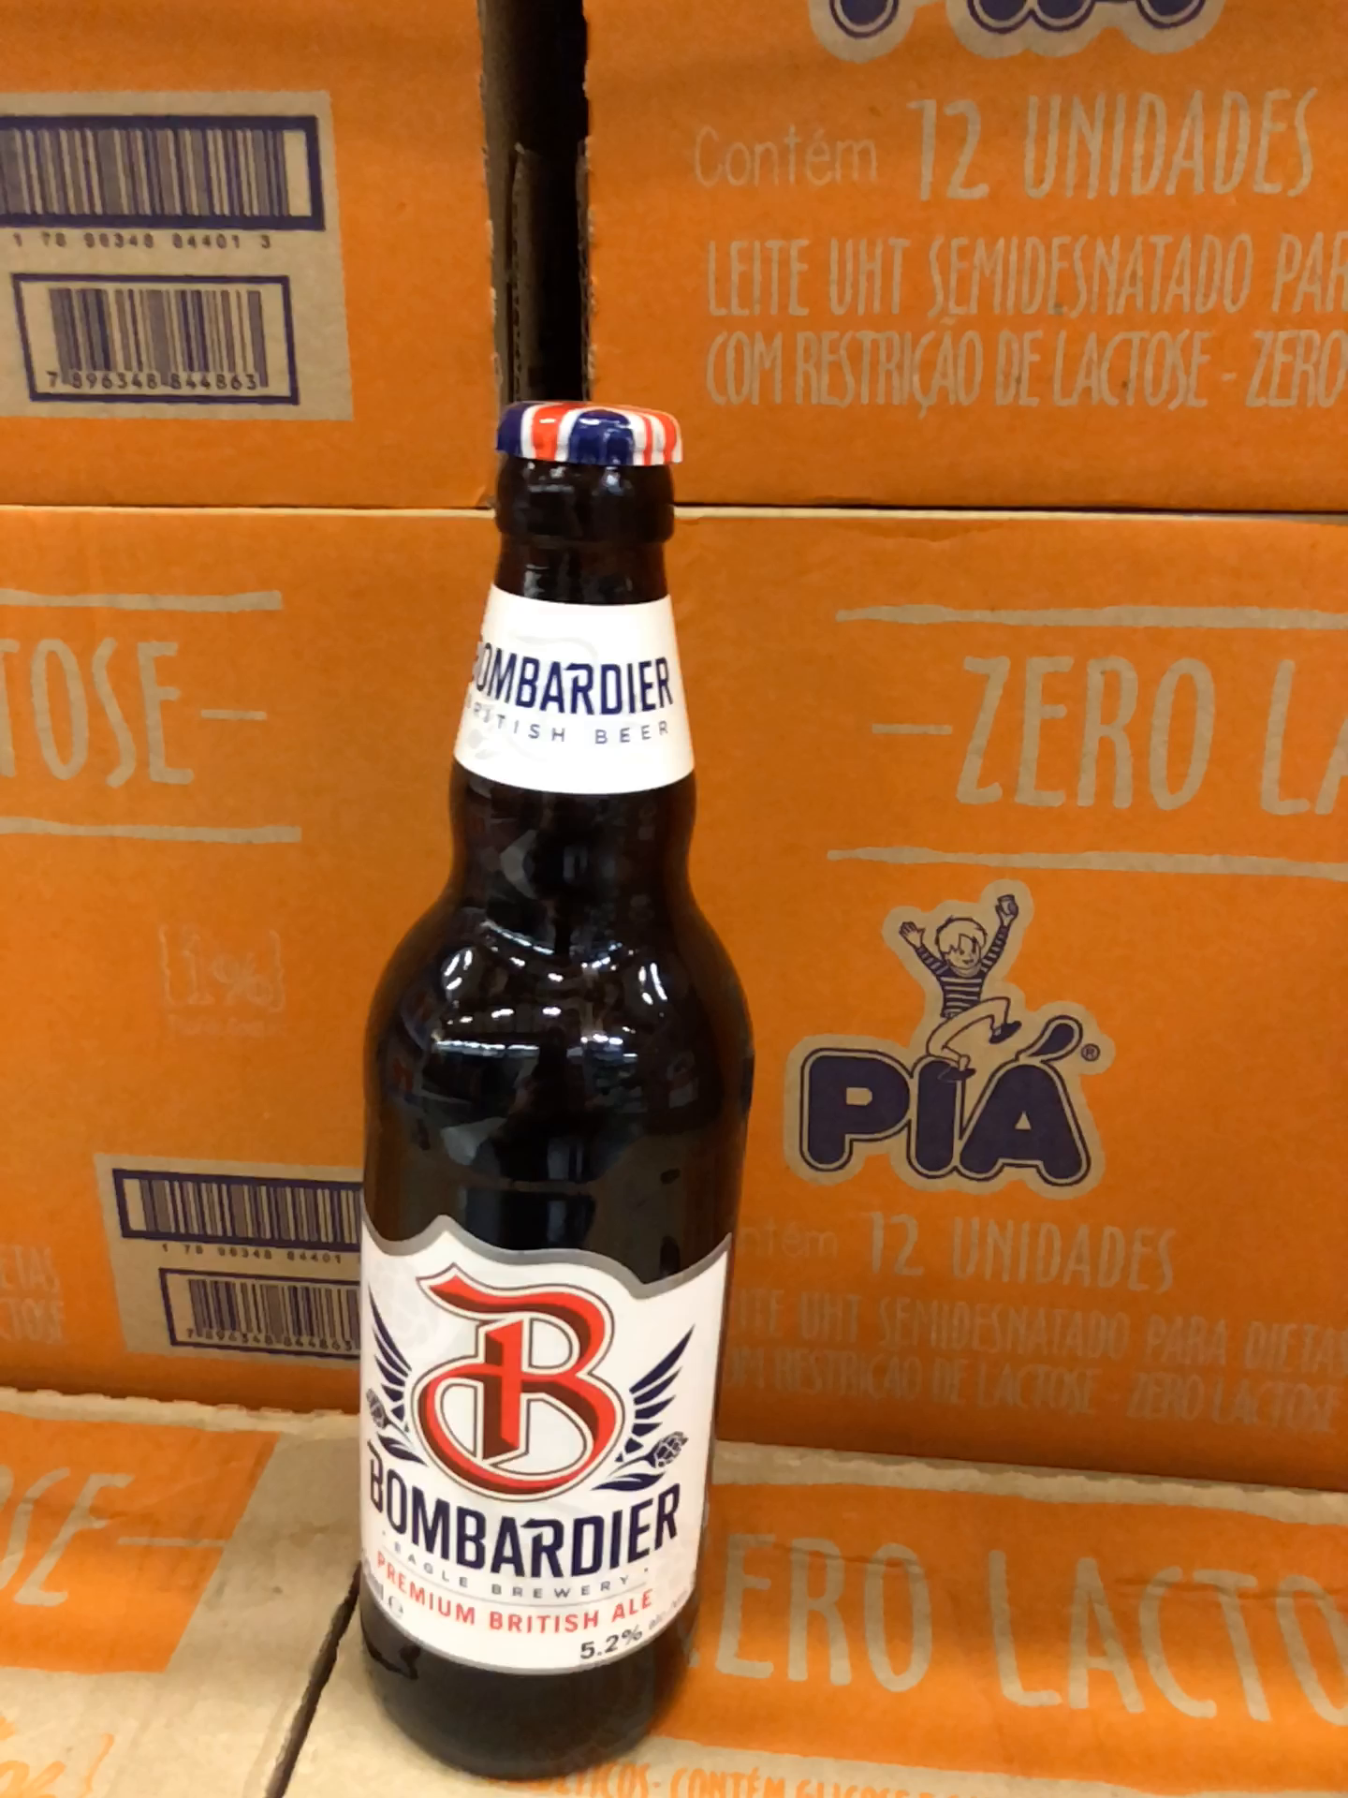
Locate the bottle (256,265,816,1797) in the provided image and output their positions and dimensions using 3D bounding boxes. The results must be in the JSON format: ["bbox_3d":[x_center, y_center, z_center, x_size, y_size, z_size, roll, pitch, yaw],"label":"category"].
[{"bbox_3d":[-0.021,0.031,0.263,0.070,0.258,0.060,5,20,7],"label":"bottle"}]
